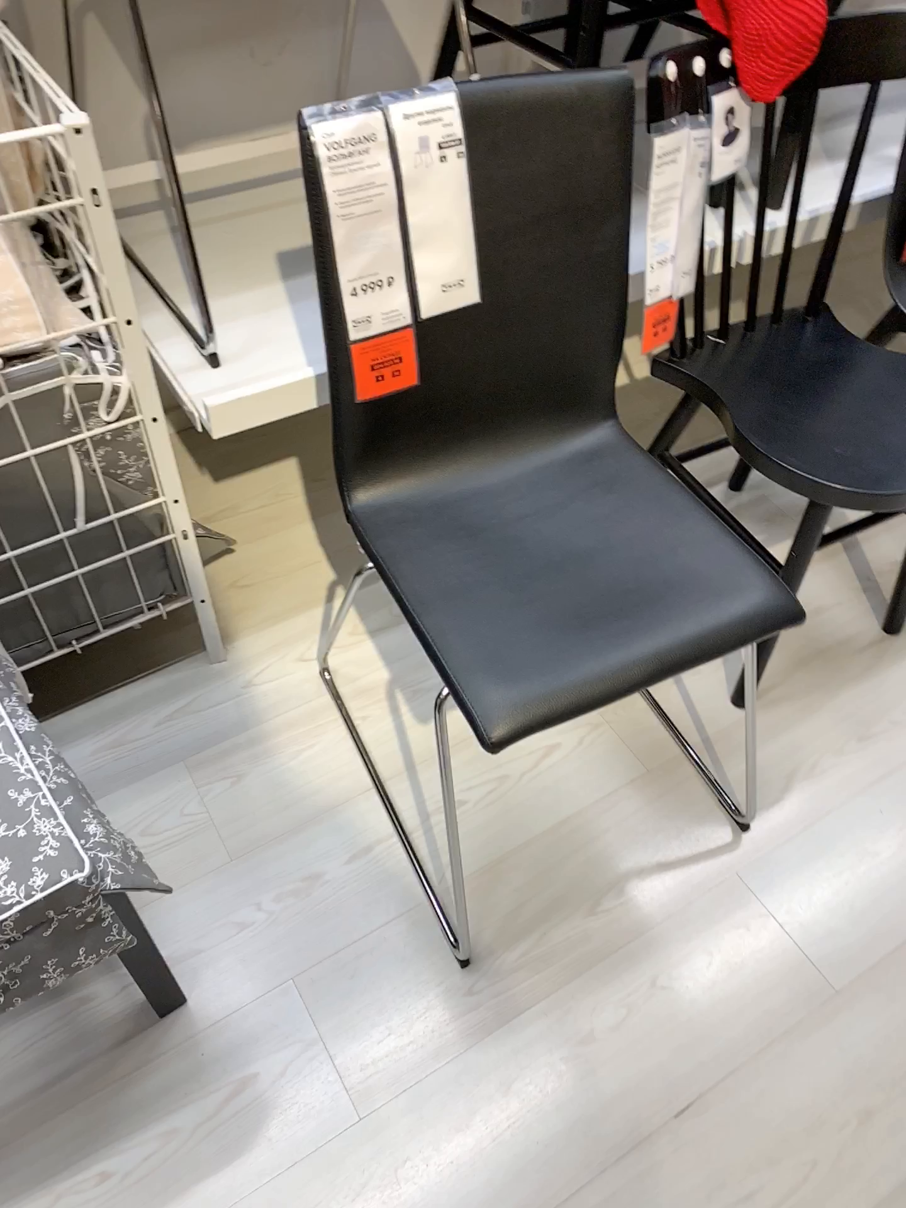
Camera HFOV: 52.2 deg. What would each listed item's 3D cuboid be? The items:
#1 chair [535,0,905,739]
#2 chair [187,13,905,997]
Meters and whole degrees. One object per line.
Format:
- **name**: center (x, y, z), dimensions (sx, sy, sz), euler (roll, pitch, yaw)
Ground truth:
- **chair**: center (0.525, -0.337, 1.397), dimensions (0.471, 0.799, 0.600), euler (-24, 53, -21)
- **chair**: center (0.112, -0.087, 1.103), dimensions (0.531, 0.869, 0.610), euler (-20, 52, -19)
